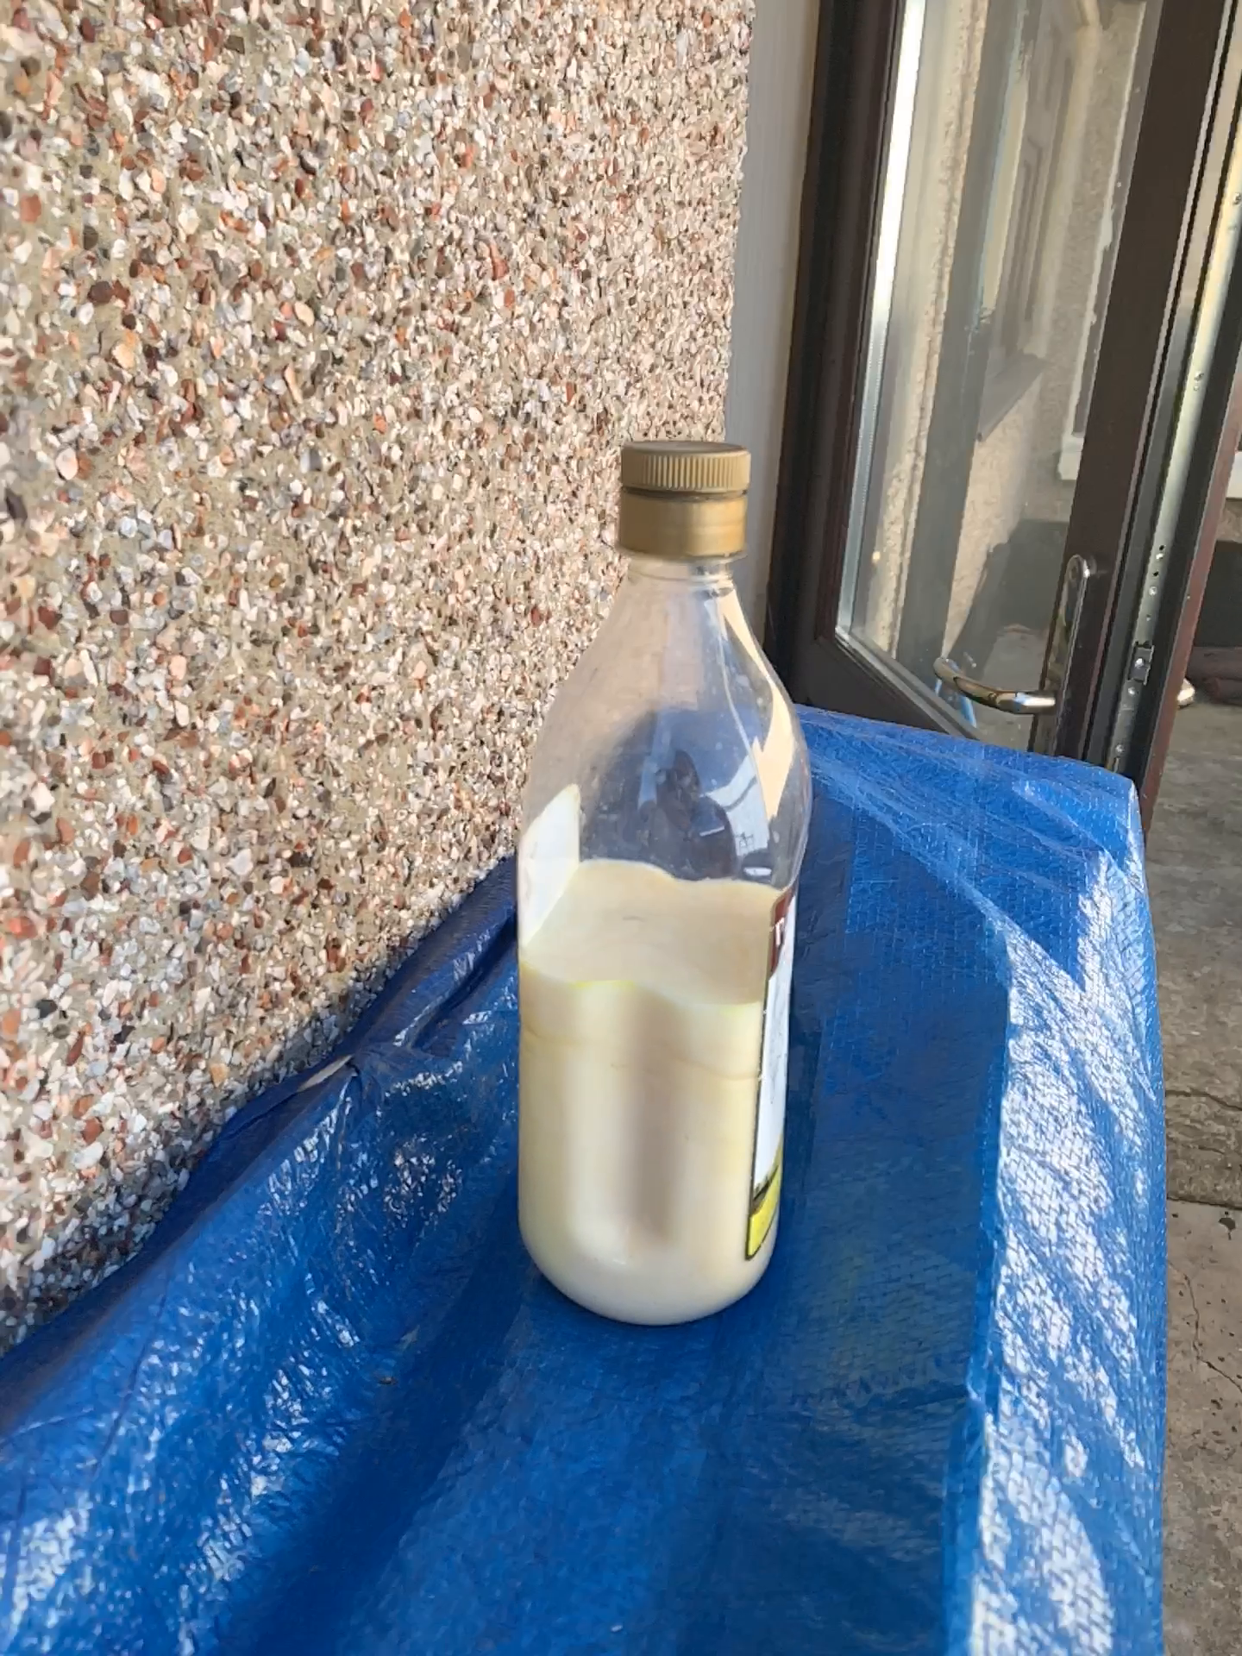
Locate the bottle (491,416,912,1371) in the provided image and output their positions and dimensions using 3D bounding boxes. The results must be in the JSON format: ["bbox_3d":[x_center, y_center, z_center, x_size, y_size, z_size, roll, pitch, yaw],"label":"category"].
[{"bbox_3d":[0.018,0.019,0.348,0.080,0.238,0.081,2,24,-1],"label":"bottle"}]
